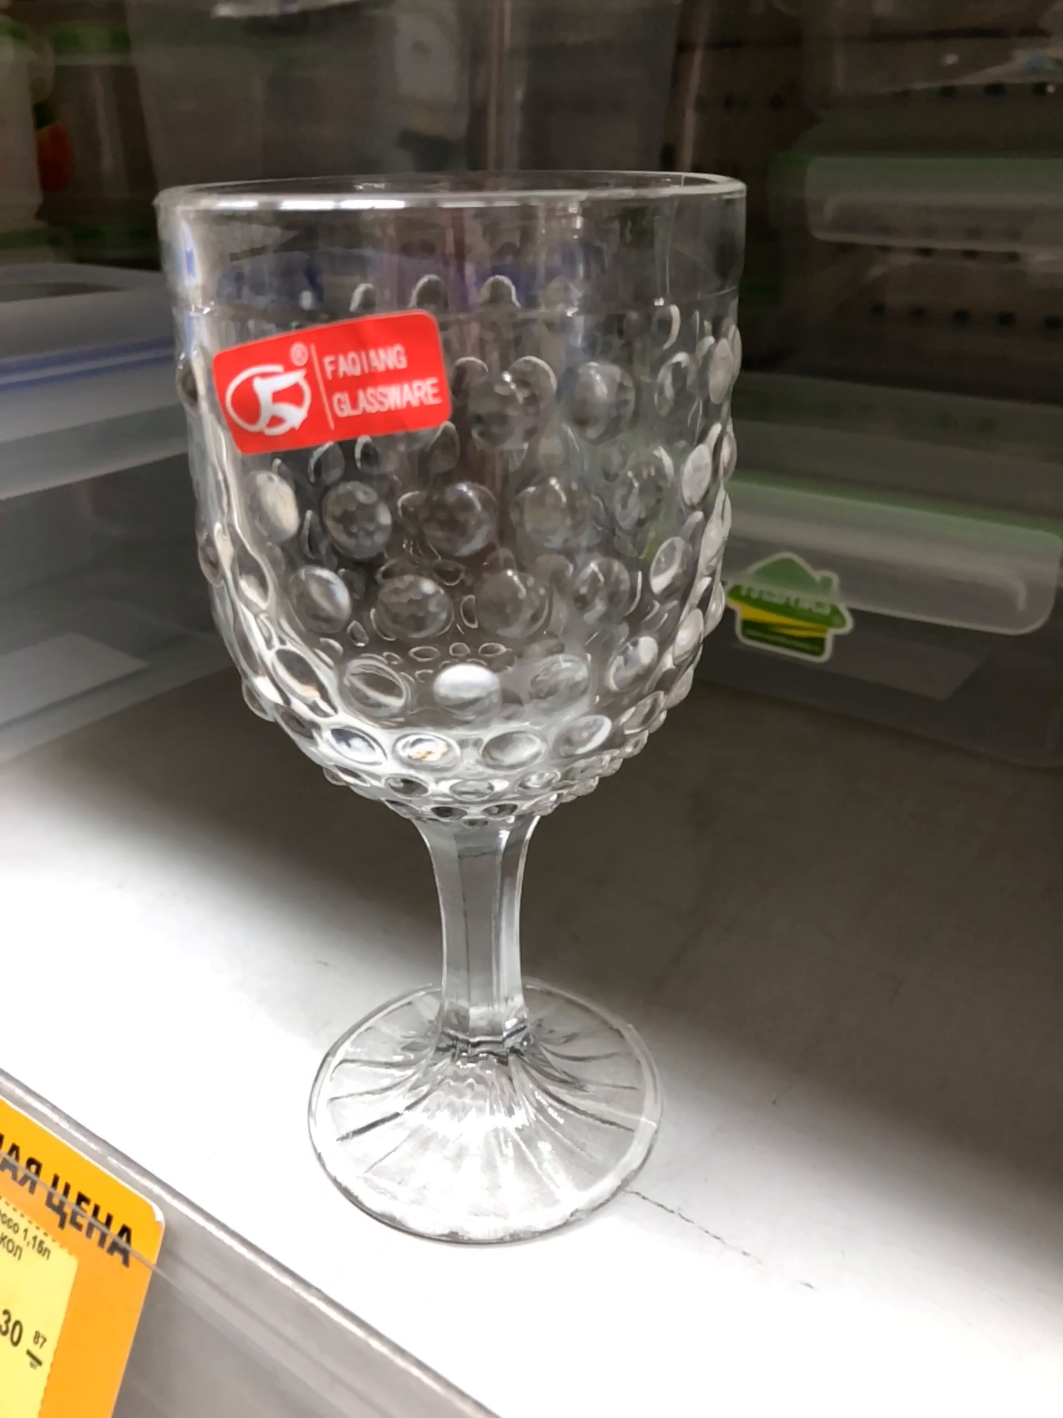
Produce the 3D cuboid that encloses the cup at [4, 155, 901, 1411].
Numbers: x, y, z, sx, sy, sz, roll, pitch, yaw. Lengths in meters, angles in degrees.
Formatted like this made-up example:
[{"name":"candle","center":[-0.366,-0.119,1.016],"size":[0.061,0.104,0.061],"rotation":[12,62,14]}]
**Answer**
[{"name":"cup","center":[-0.006,0.001,0.188],"size":[0.081,0.160,0.086],"rotation":[0,24,0]}]
